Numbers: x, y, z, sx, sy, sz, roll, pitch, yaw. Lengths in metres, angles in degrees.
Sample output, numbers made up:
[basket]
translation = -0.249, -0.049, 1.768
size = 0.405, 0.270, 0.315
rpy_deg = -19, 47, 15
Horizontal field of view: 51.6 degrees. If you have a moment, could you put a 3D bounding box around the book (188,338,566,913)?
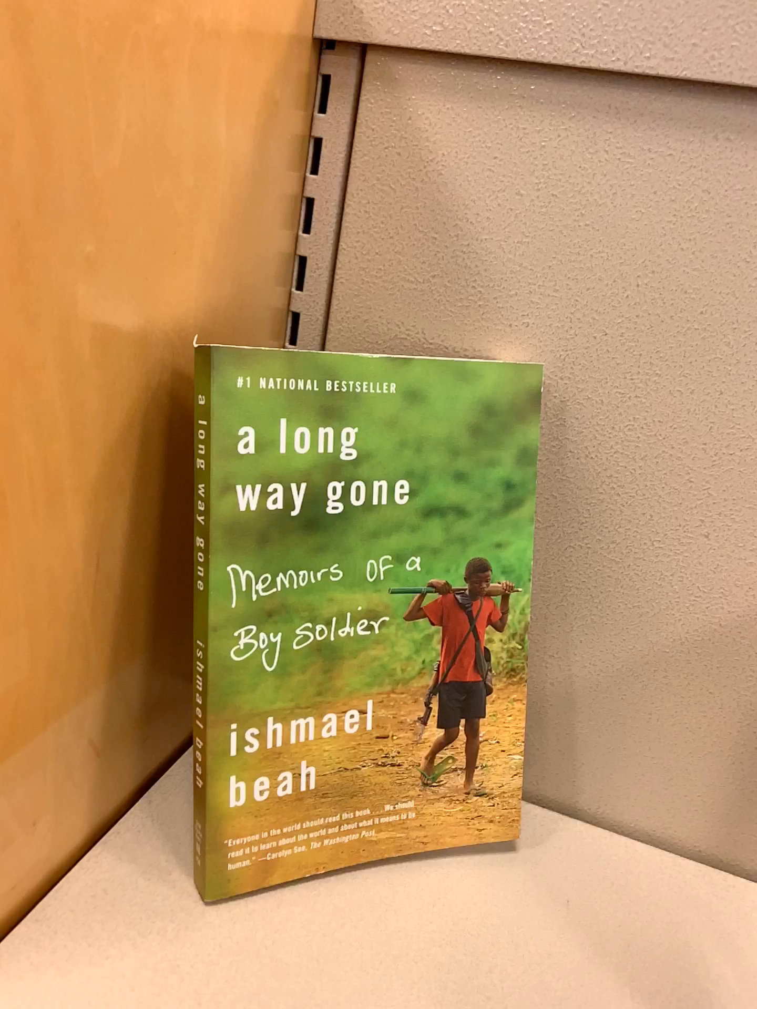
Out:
[book]
translation = -0.001, 0.046, 0.308
size = 0.140, 0.210, 0.020
rpy_deg = -1, 10, -21
